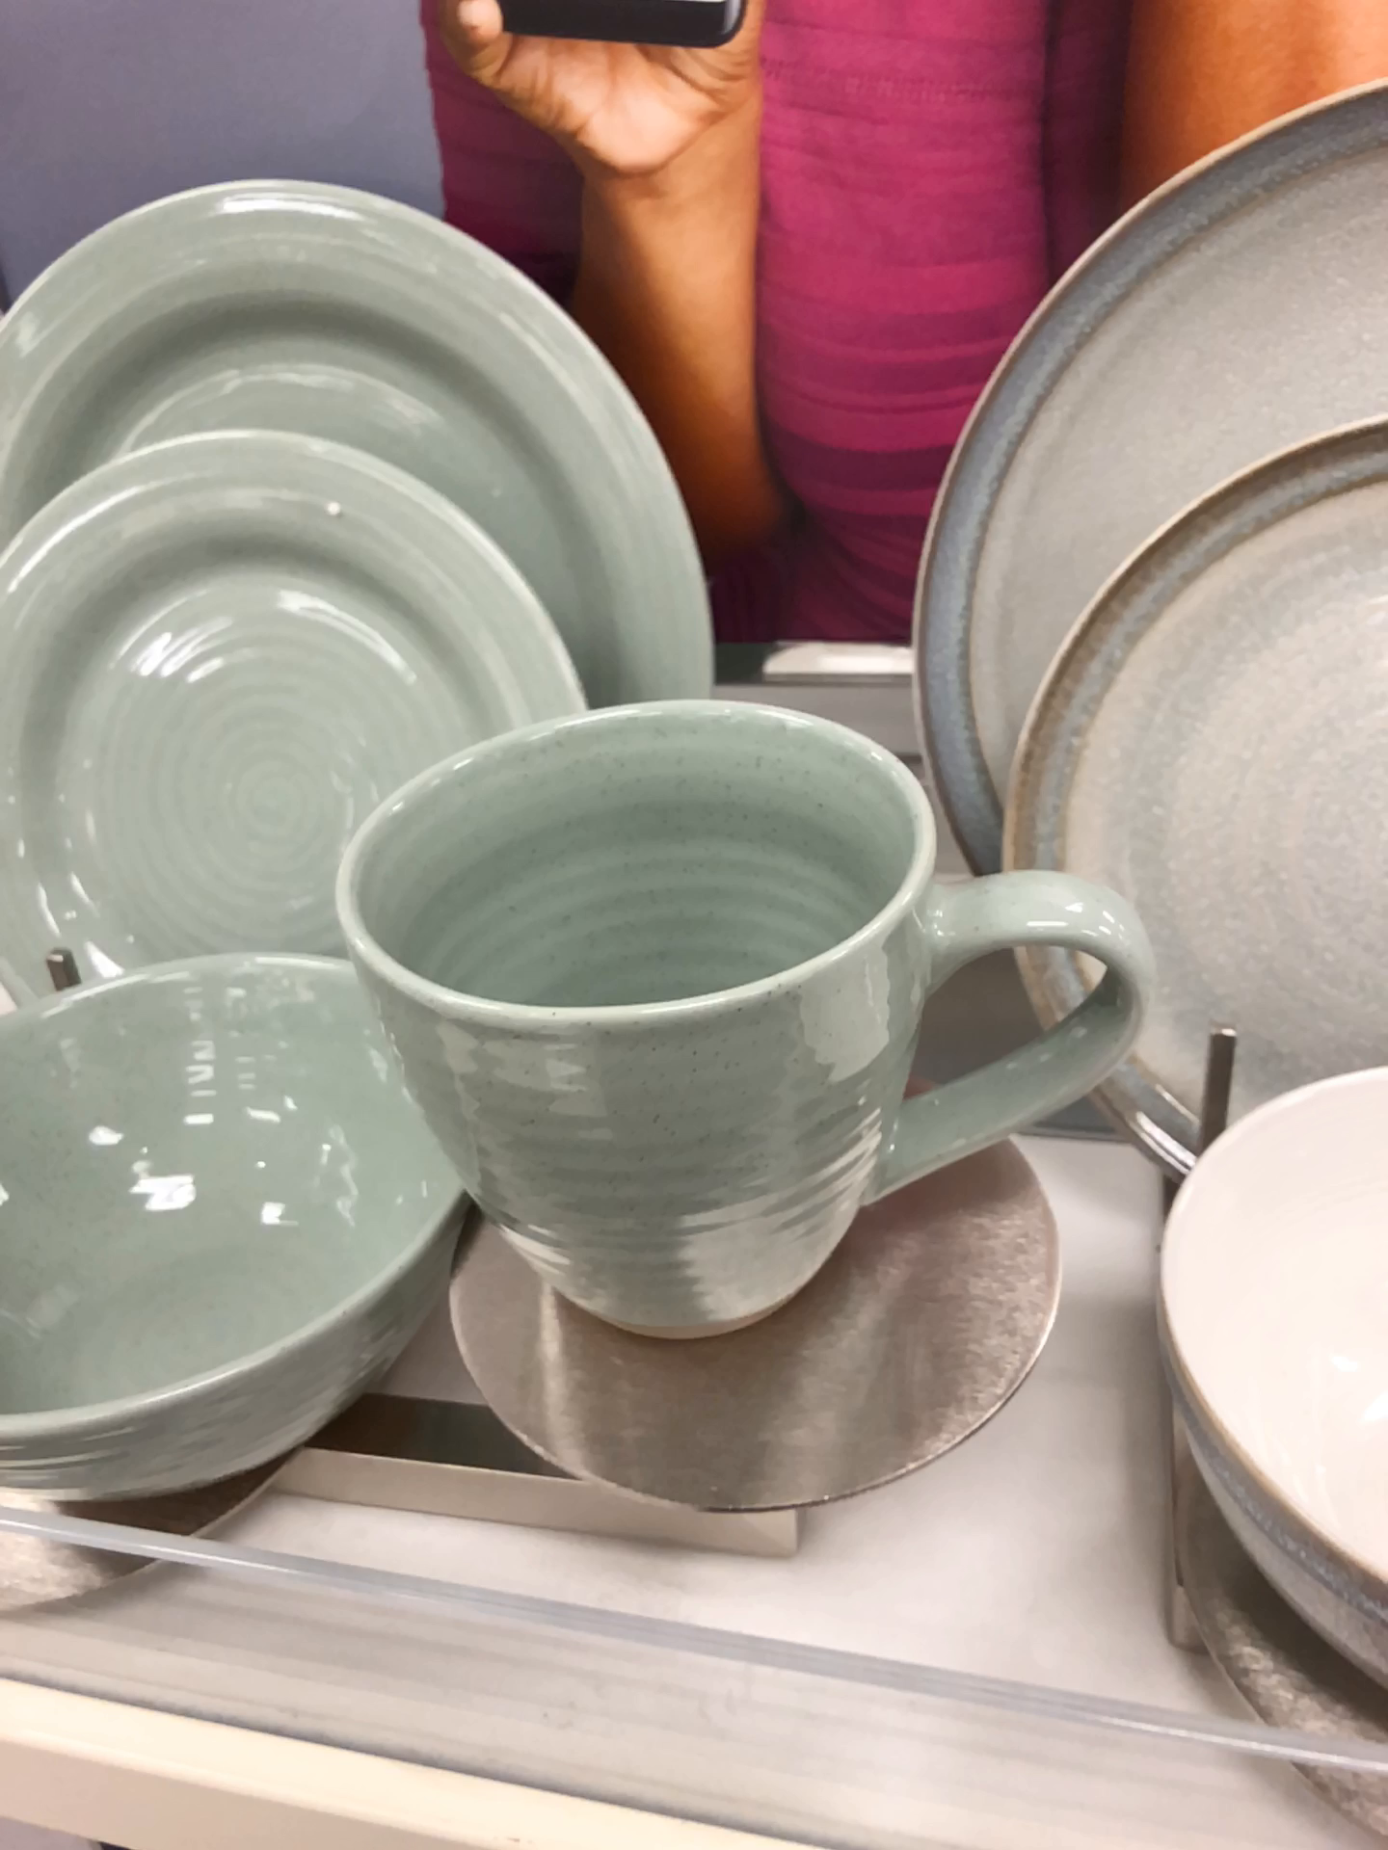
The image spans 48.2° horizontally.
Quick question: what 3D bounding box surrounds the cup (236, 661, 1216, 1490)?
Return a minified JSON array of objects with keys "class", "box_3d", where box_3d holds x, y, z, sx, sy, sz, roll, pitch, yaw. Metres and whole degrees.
[{"class":"cup","box_3d":[0.010,0.022,0.277,0.129,0.091,0.116,-2,33,6]}]
